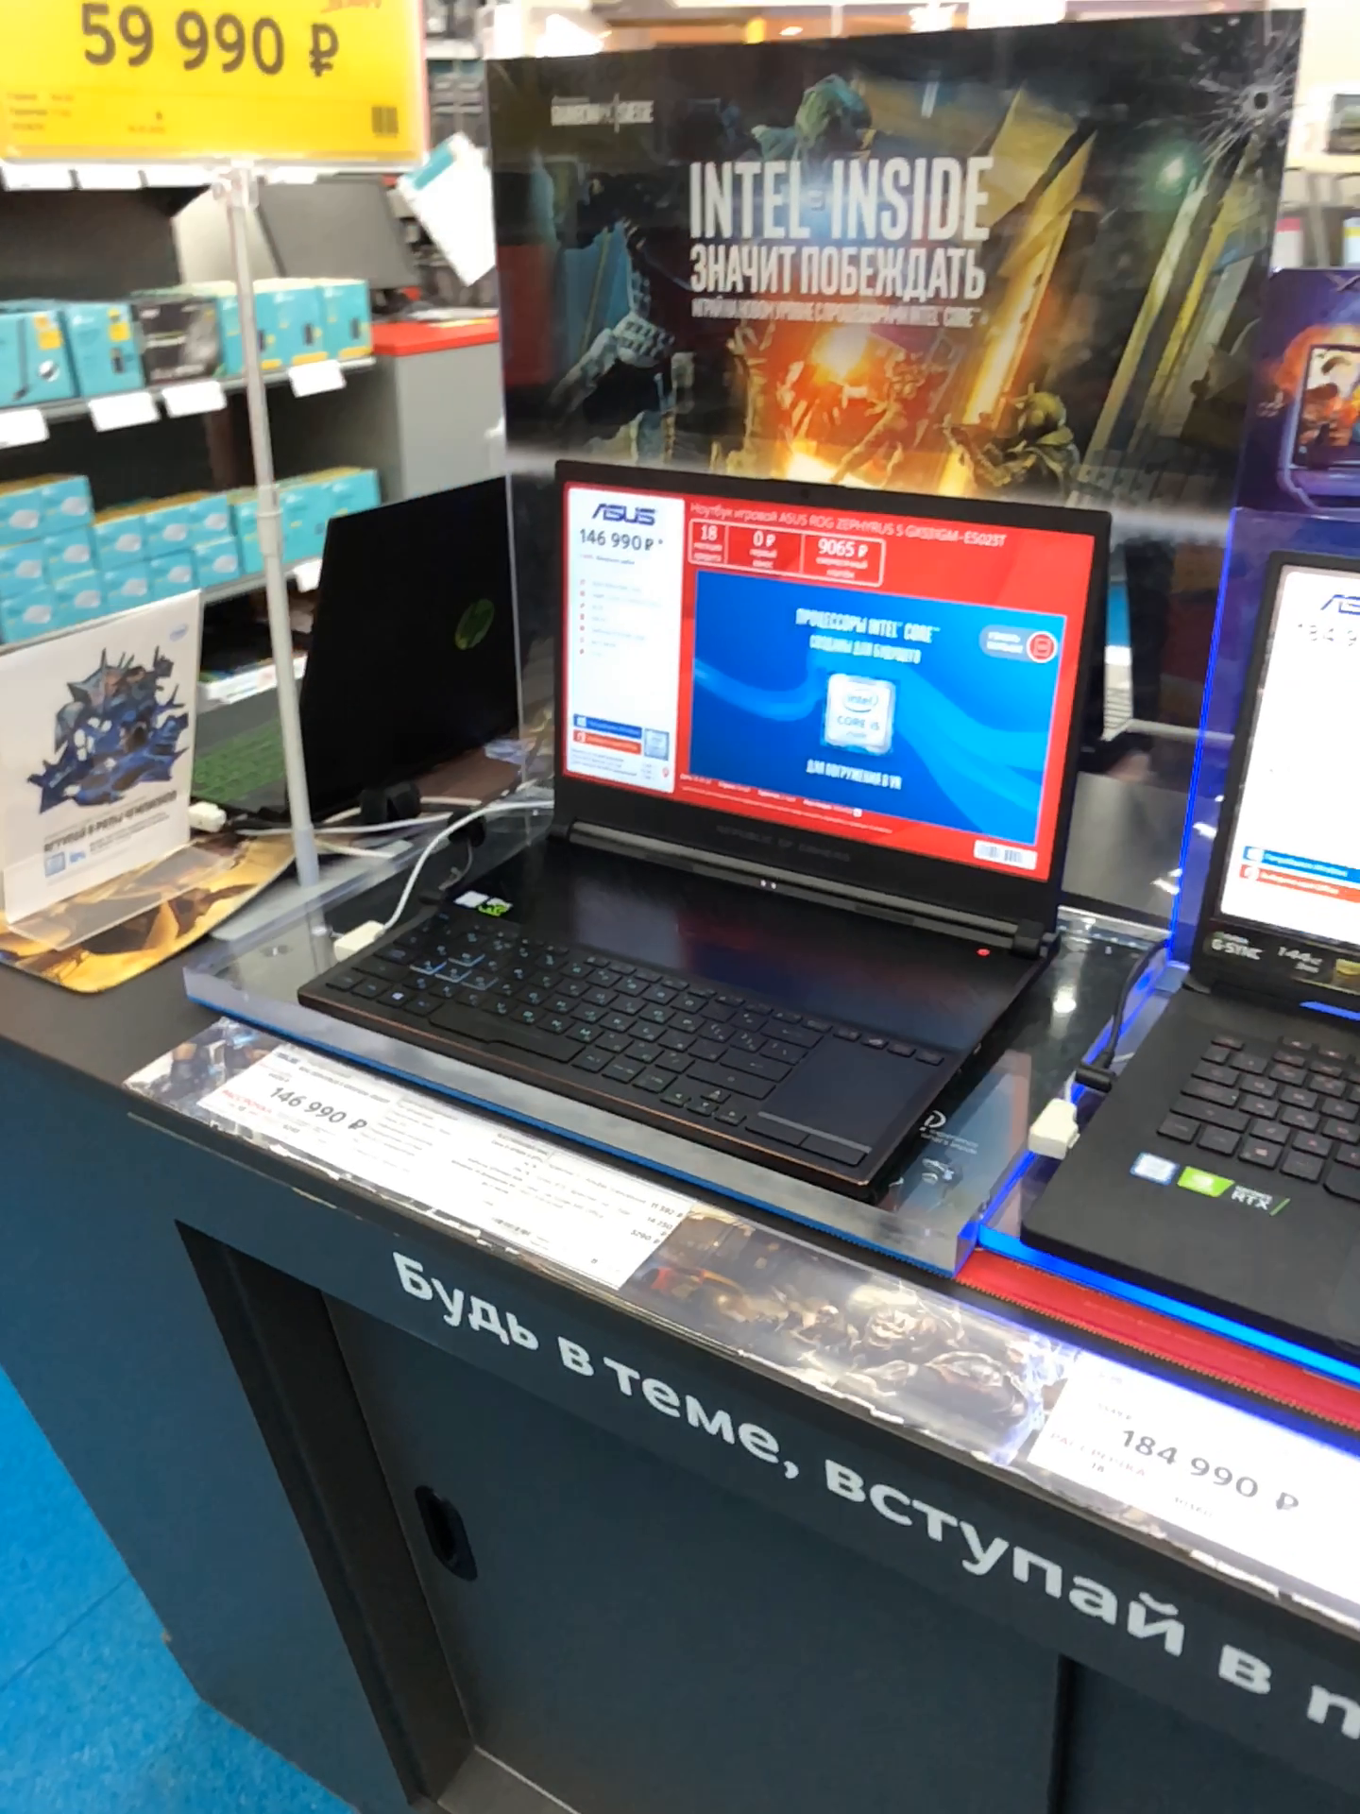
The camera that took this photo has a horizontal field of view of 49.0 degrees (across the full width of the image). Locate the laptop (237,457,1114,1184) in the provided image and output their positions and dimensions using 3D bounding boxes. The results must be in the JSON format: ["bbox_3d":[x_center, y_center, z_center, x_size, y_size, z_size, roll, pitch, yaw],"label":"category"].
[{"bbox_3d":[0.003,-0.080,0.808,0.350,0.241,0.279,15,31,29],"label":"laptop"}]

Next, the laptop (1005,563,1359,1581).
[{"bbox_3d":[0.374,0.019,0.619,0.342,0.219,0.302,16,32,32],"label":"laptop"}]
